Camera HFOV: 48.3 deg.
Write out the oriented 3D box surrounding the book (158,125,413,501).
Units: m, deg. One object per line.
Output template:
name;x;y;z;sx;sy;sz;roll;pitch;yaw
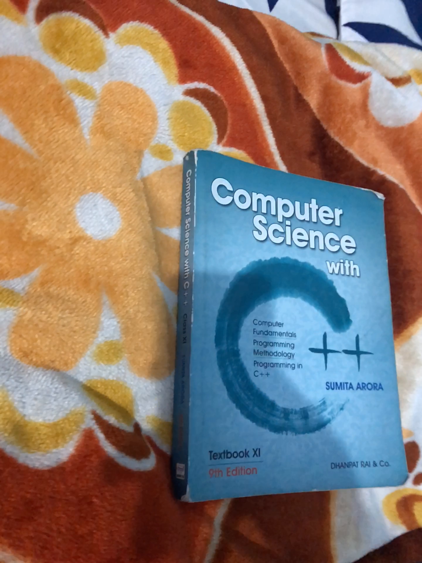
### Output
book;0.068;0.027;0.397;0.211;0.040;0.270;8;75;-25
